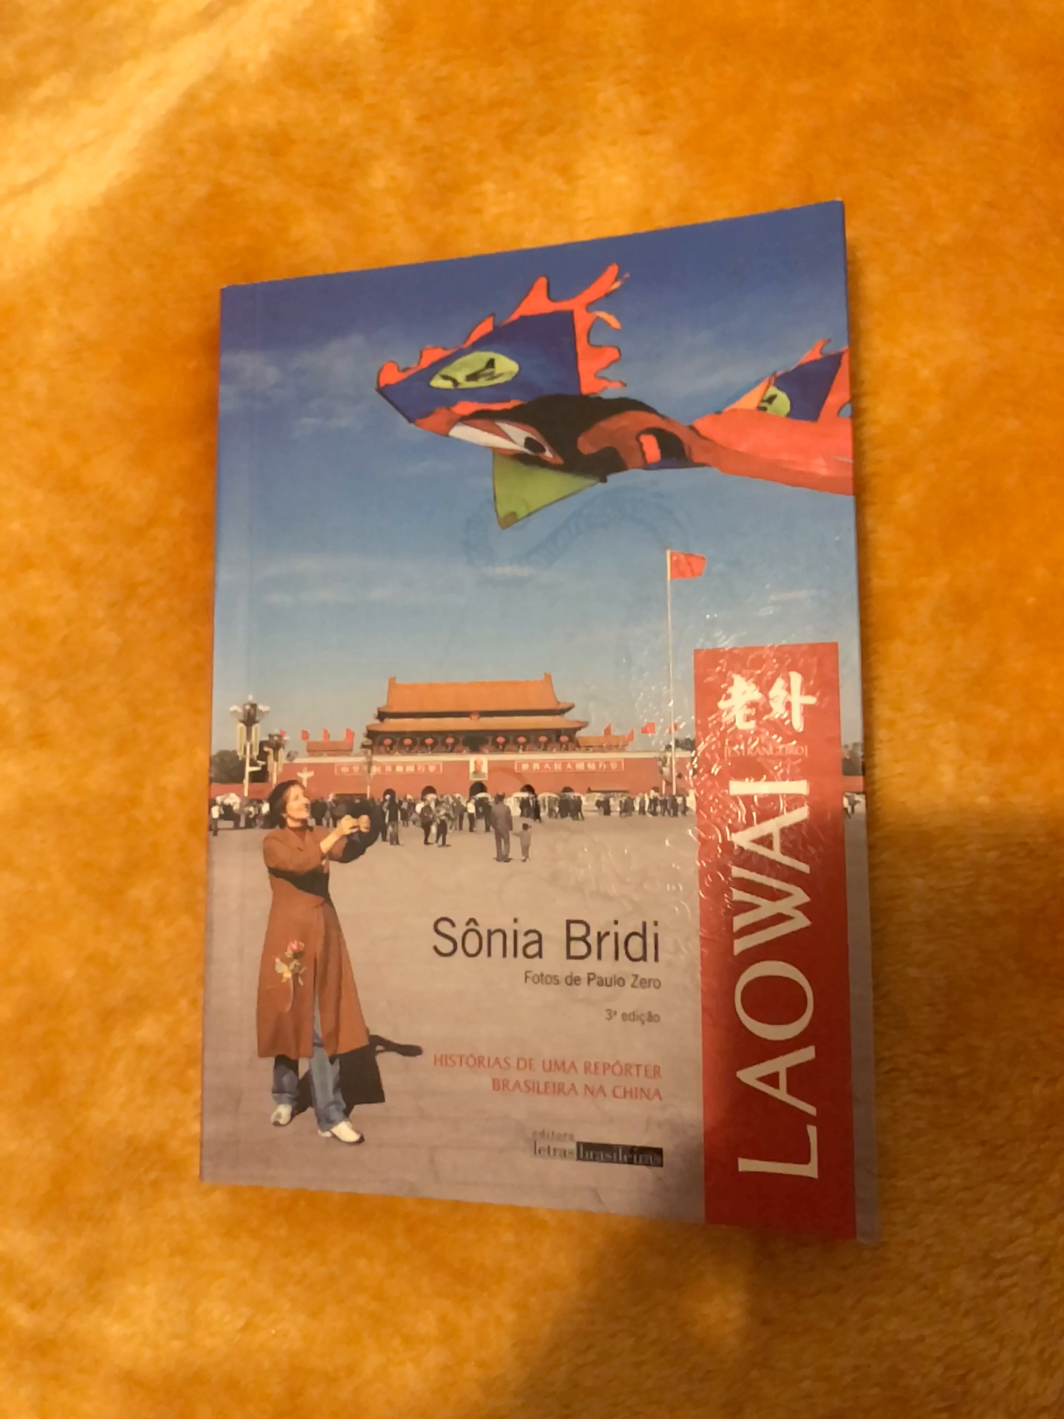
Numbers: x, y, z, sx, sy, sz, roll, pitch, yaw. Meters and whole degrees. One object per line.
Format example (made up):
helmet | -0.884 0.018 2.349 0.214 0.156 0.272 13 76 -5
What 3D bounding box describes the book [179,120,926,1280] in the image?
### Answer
book | 0.002 -0.004 0.289 0.170 0.040 0.240 -2 83 19
